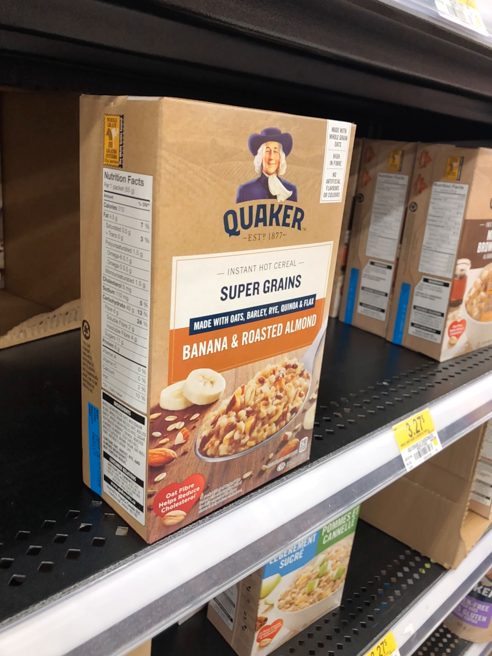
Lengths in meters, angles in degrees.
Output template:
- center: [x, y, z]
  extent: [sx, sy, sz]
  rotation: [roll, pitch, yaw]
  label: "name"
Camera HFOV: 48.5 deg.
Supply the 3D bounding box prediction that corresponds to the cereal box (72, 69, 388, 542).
- center: [-0.010, -0.017, 0.276]
  extent: [0.070, 0.189, 0.130]
  rotation: [23, 26, 40]
  label: "cereal box"
